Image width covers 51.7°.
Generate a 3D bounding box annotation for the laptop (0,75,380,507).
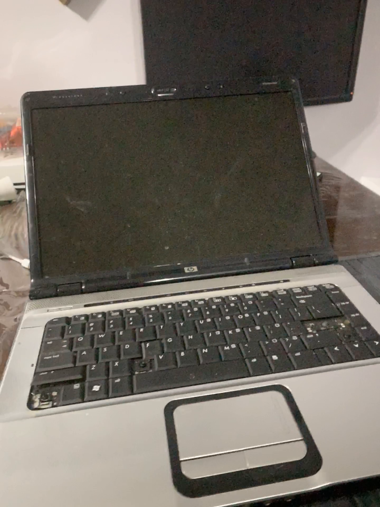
[{"bbox_3d":[0.013,-0.037,0.369,0.349,0.186,0.404,-6,30,-7],"label":"laptop"}]
